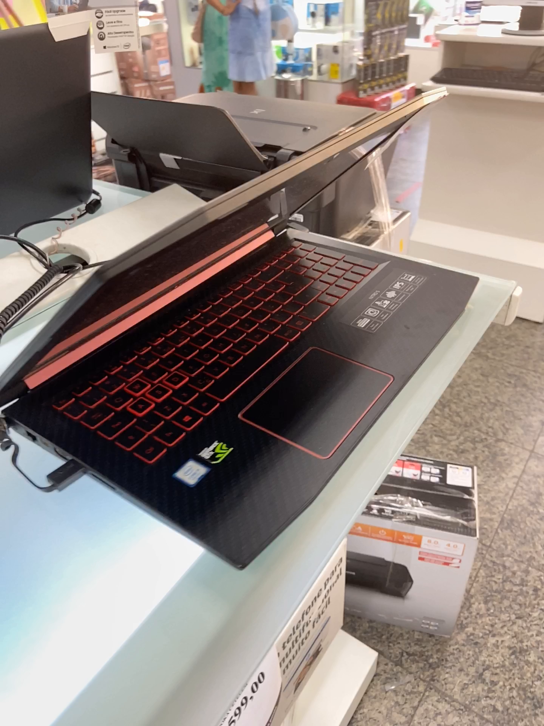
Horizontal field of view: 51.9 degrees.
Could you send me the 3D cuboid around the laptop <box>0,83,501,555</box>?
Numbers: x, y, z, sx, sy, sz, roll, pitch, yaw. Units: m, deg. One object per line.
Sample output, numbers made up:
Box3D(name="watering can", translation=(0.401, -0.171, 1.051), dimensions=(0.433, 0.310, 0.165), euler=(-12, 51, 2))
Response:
Box3D(name="laptop", translation=(-0.010, -0.090, 0.448), dimensions=(0.234, 0.163, 0.381), euler=(21, 43, 29))
